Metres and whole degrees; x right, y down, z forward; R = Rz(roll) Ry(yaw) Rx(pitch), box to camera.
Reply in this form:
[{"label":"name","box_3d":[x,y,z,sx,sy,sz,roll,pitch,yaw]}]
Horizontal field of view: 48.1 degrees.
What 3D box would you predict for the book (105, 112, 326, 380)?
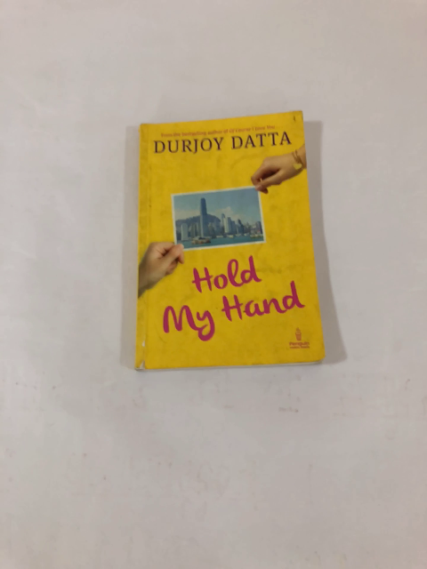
[{"label":"book","box_3d":[-0.003,-0.032,0.340,0.140,0.020,0.190,-3,72,1]}]
